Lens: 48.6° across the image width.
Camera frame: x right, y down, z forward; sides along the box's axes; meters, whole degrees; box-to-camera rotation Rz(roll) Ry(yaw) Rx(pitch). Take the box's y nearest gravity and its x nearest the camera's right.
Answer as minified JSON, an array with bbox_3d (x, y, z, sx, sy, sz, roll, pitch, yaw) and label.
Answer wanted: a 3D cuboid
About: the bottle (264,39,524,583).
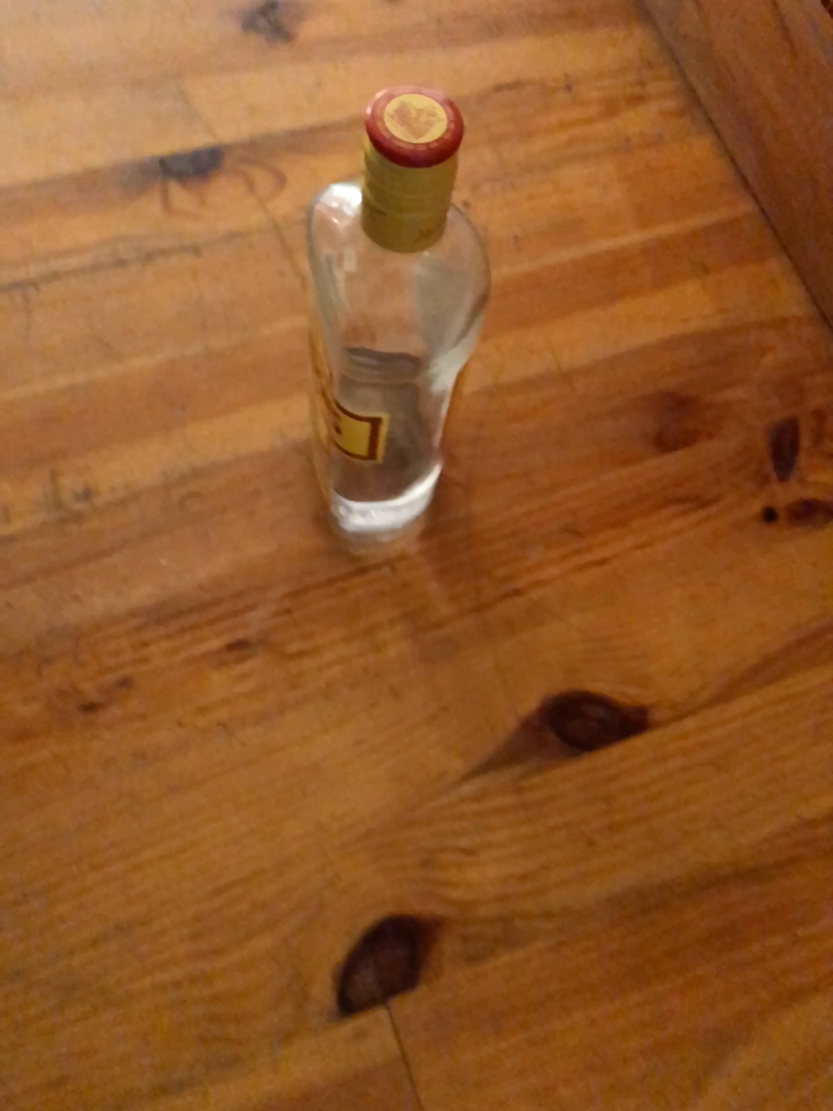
[{"bbox_3d":[-0.019,-0.075,0.383,0.060,0.239,0.090,-10,70,-9],"label":"bottle"}]
